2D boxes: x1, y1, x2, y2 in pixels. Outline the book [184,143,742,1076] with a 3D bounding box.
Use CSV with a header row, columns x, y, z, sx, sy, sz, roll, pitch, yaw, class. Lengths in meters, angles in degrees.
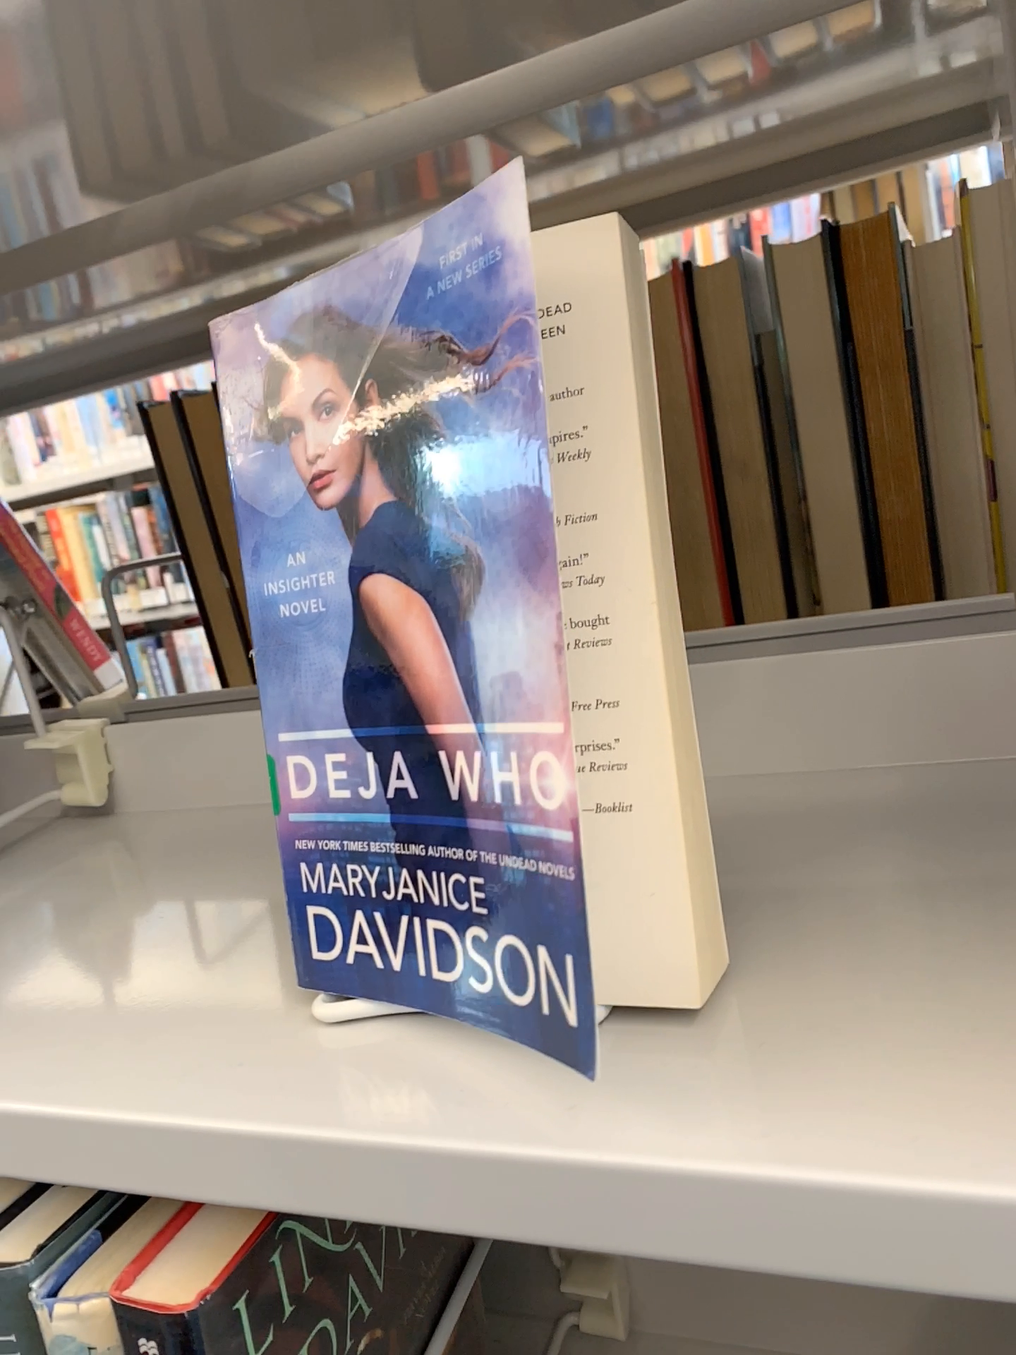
x,y,z,sx,sy,sz,roll,pitch,yaw,class
-0.018,-0.012,0.275,0.136,0.190,0.047,-4,0,40,book
